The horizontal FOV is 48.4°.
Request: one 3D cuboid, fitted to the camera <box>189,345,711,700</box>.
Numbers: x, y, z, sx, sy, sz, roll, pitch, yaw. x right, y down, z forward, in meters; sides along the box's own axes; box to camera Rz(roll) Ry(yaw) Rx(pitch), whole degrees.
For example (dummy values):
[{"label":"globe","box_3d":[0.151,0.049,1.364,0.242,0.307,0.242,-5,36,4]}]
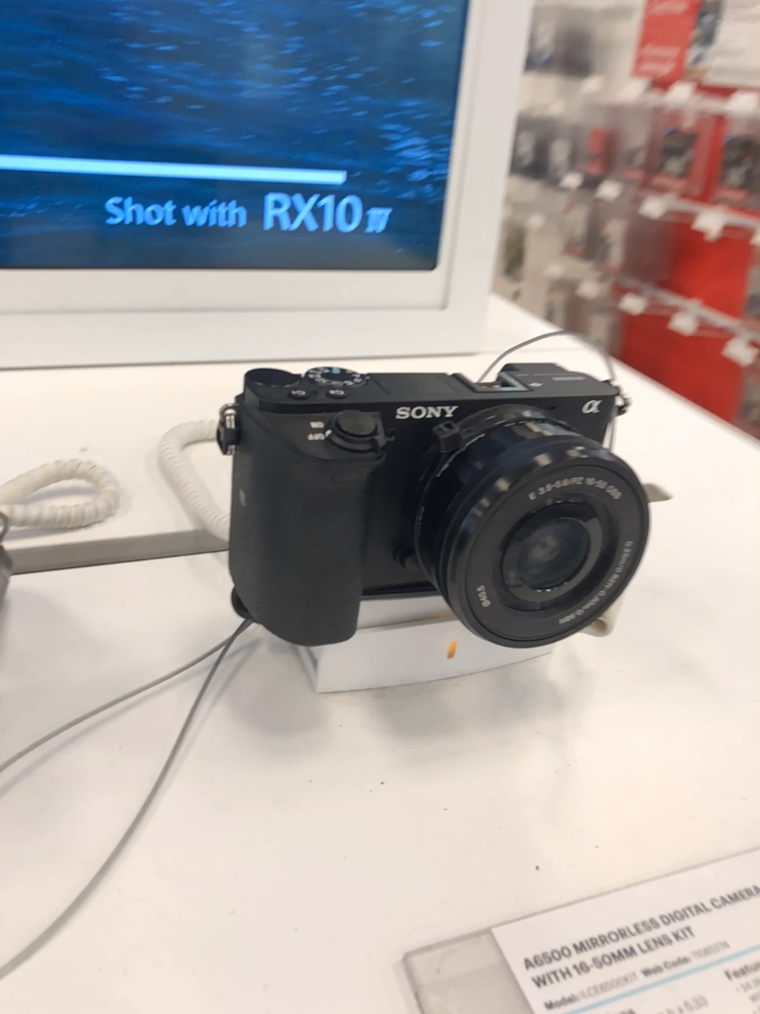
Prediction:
[{"label":"camera","box_3d":[0.015,-0.003,0.253,0.130,0.070,0.070,-5,29,-20]}]
